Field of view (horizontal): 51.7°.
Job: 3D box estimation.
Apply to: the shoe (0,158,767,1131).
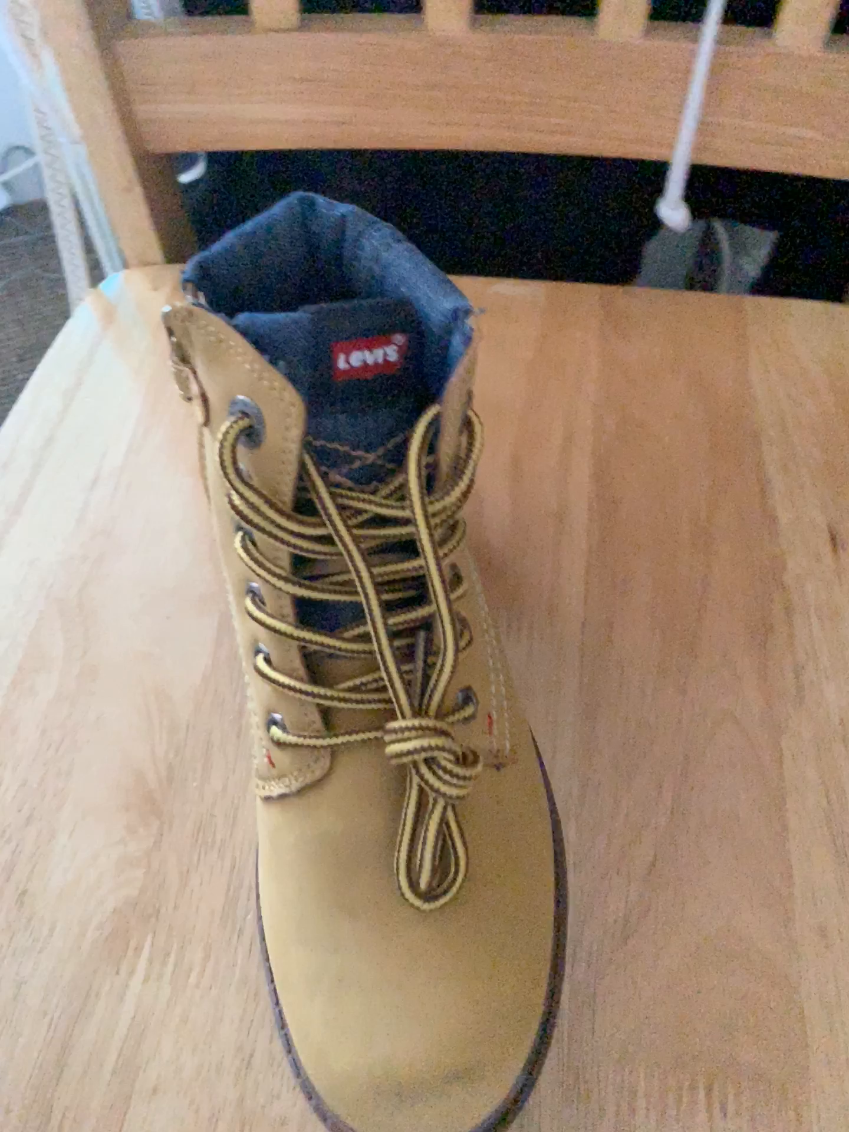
[{"bbox_3d":[-0.017,0.034,0.230,0.100,0.139,0.231,-8,60,-1],"label":"shoe"}]
